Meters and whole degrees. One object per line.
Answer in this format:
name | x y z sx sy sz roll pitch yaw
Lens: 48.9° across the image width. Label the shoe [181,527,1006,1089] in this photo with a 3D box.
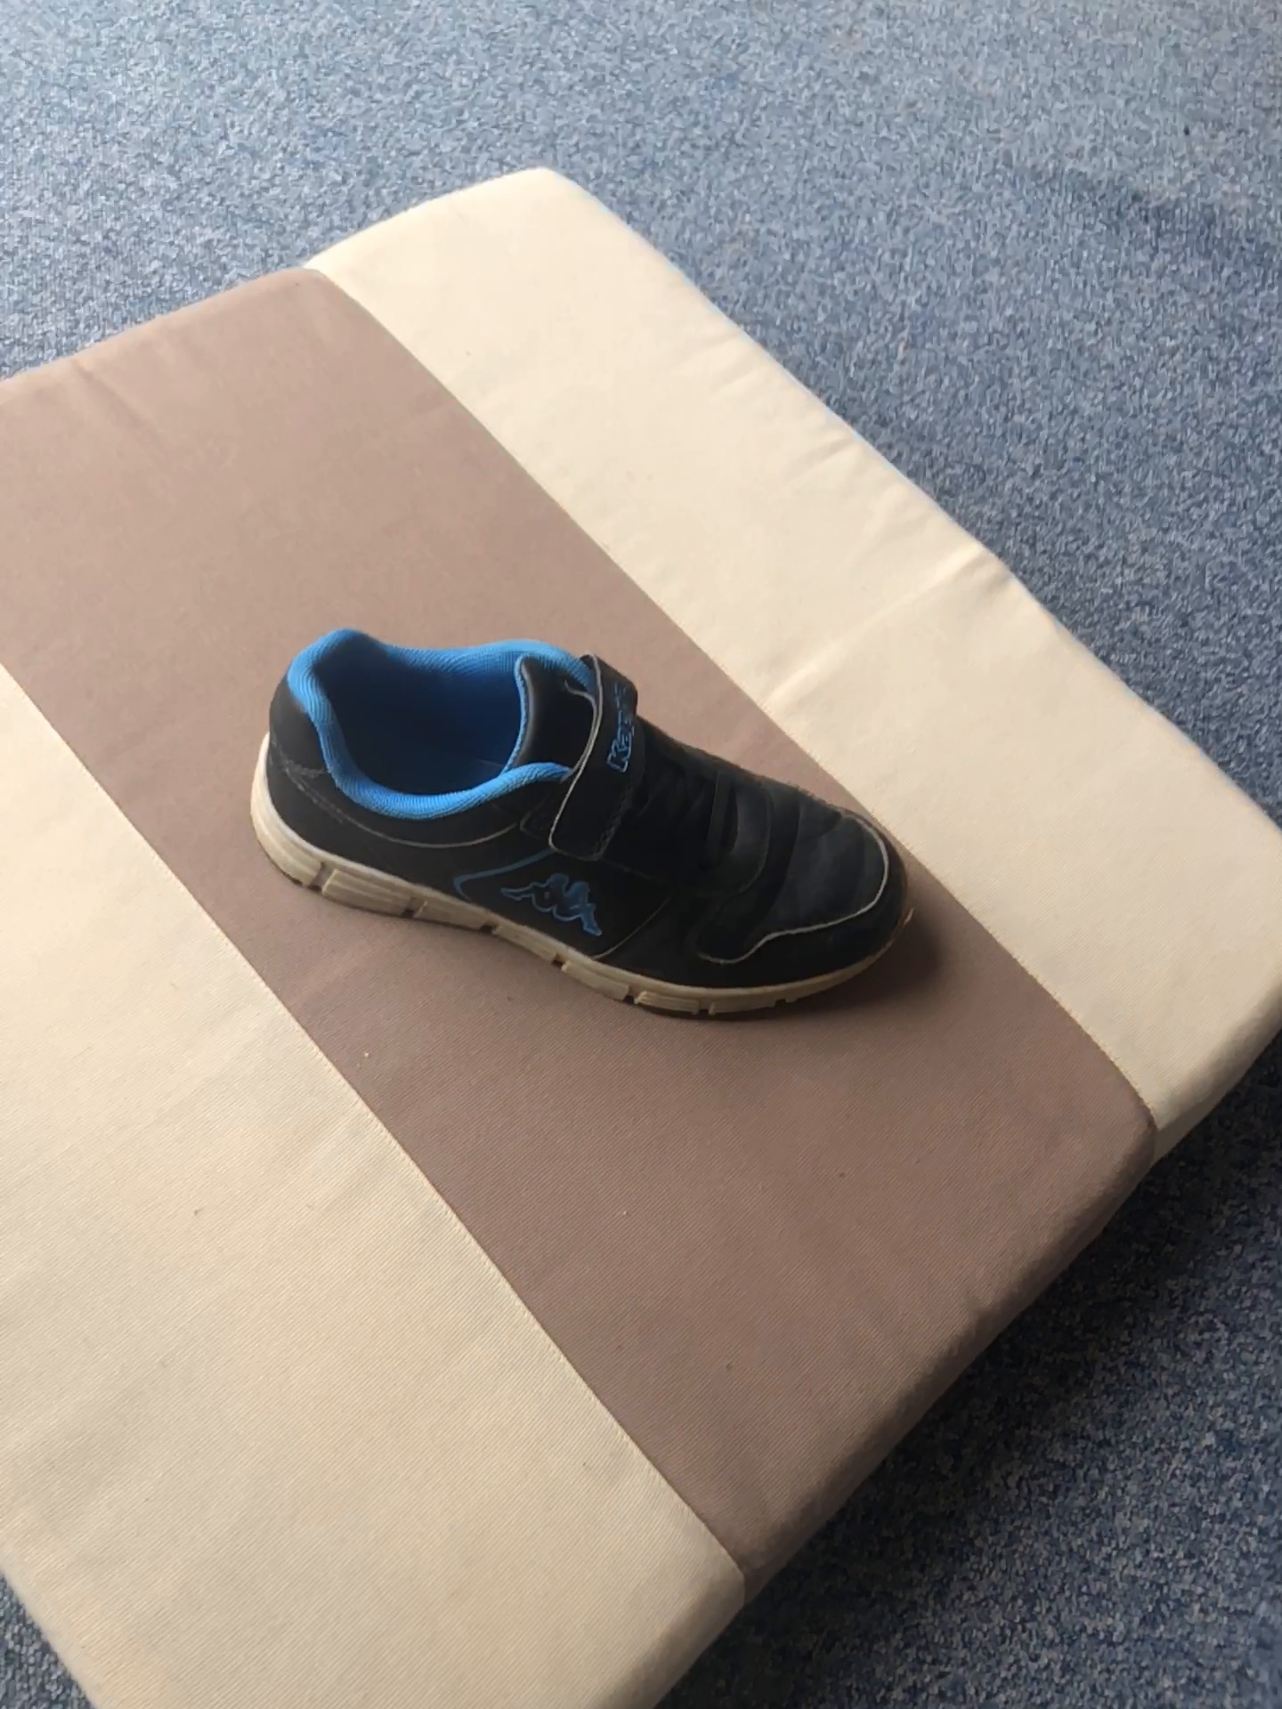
shoe | -0.013 -0.011 0.471 0.240 0.090 0.100 14 60 -4
